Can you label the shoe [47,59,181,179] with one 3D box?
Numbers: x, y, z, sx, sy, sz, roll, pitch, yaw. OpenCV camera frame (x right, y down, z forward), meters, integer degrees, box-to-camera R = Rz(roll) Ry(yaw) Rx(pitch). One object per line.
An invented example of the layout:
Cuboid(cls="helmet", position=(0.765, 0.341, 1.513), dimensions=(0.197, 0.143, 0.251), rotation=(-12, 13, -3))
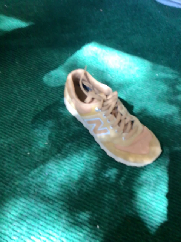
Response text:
Cuboid(cls="shoe", position=(0.040, -0.011, 0.436), dimensions=(0.260, 0.099, 0.111), rotation=(37, 62, 17))
